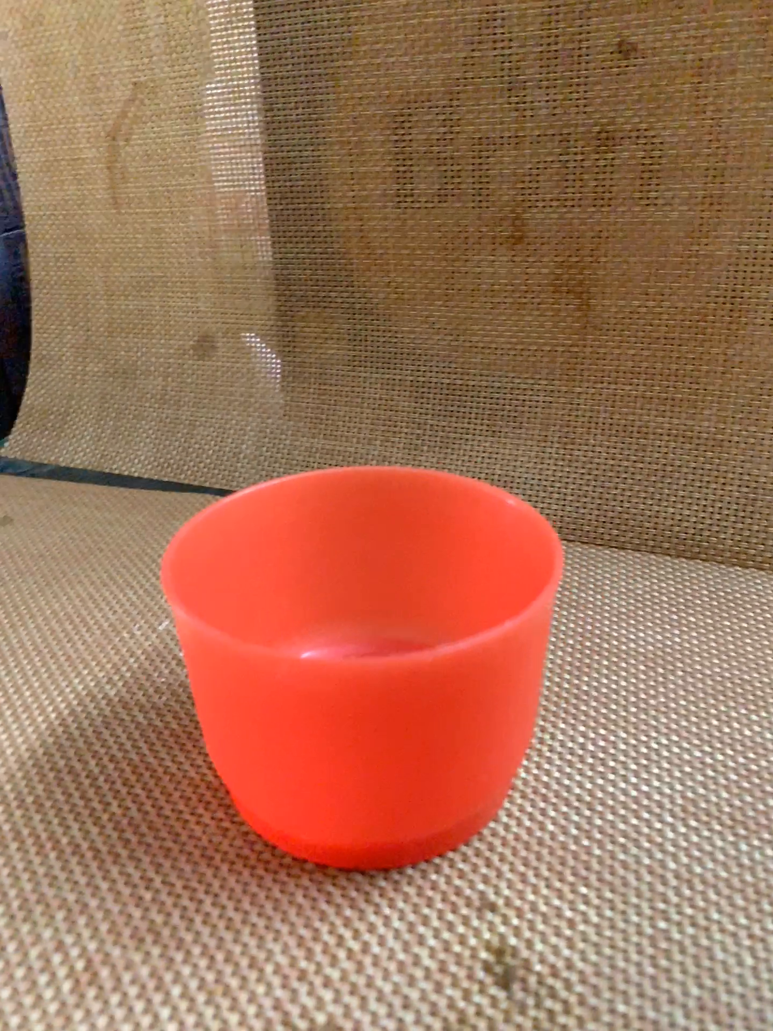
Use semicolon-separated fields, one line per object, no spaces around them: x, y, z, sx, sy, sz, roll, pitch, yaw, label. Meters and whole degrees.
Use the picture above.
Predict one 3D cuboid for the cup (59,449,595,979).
-0.006;0.028;0.156;0.070;0.050;0.070;-1;26;1;cup
